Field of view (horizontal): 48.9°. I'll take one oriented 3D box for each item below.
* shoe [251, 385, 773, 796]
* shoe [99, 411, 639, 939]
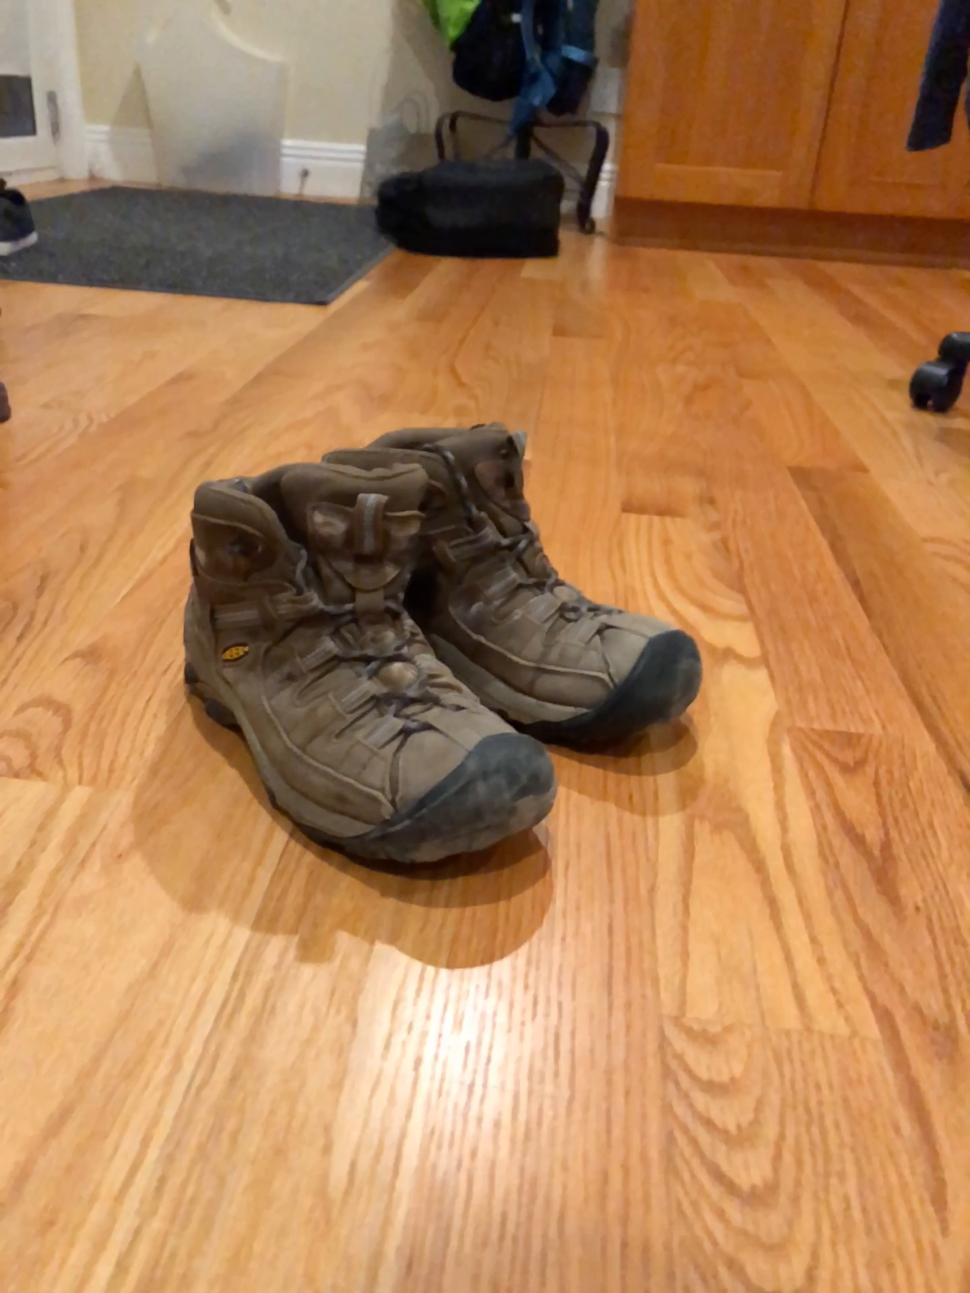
[{"bbox_3d":[0.006,-0.045,0.597,0.260,0.139,0.108,19,30,27],"label":"shoe"},{"bbox_3d":[-0.069,-0.007,0.512,0.108,0.139,0.260,-19,35,-39],"label":"shoe"}]
